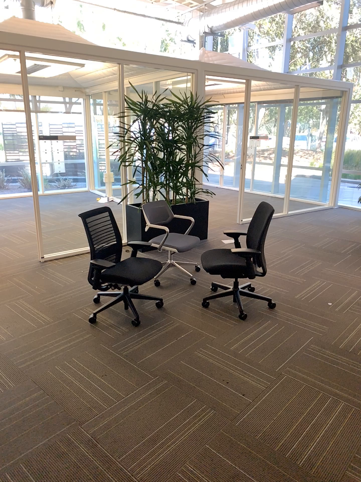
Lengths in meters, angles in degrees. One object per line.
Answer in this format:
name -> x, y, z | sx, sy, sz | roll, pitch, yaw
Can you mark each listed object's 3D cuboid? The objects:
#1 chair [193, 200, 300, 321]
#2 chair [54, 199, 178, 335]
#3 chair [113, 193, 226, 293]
chair -> 0.543, 0.133, 3.447 | 0.760, 0.886, 0.854 | 0, 16, -3
chair -> -0.526, 0.162, 3.276 | 0.721, 0.886, 0.812 | 8, 17, 23
chair -> -0.119, -0.038, 4.140 | 0.923, 0.797, 0.841 | 12, 19, 33
